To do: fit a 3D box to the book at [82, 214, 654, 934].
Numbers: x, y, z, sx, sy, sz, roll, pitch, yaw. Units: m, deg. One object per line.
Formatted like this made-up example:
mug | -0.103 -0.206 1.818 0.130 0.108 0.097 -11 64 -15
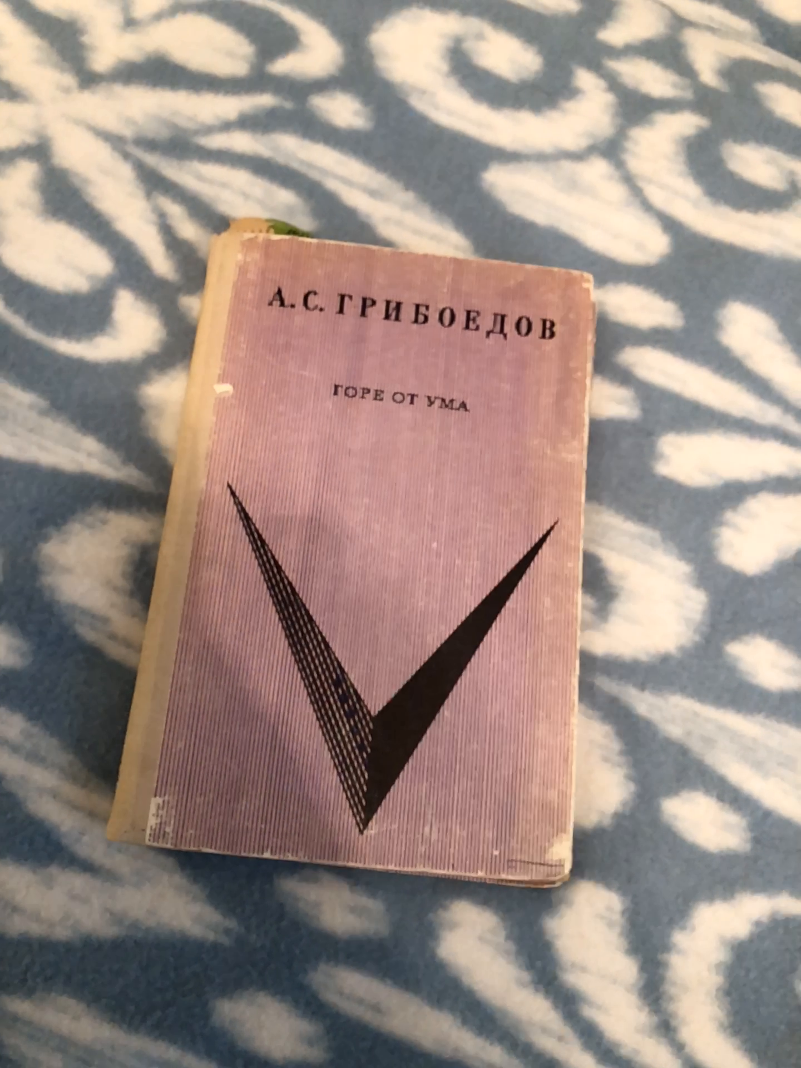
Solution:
book | -0.001 0.005 0.294 0.158 0.020 0.217 7 75 -1
